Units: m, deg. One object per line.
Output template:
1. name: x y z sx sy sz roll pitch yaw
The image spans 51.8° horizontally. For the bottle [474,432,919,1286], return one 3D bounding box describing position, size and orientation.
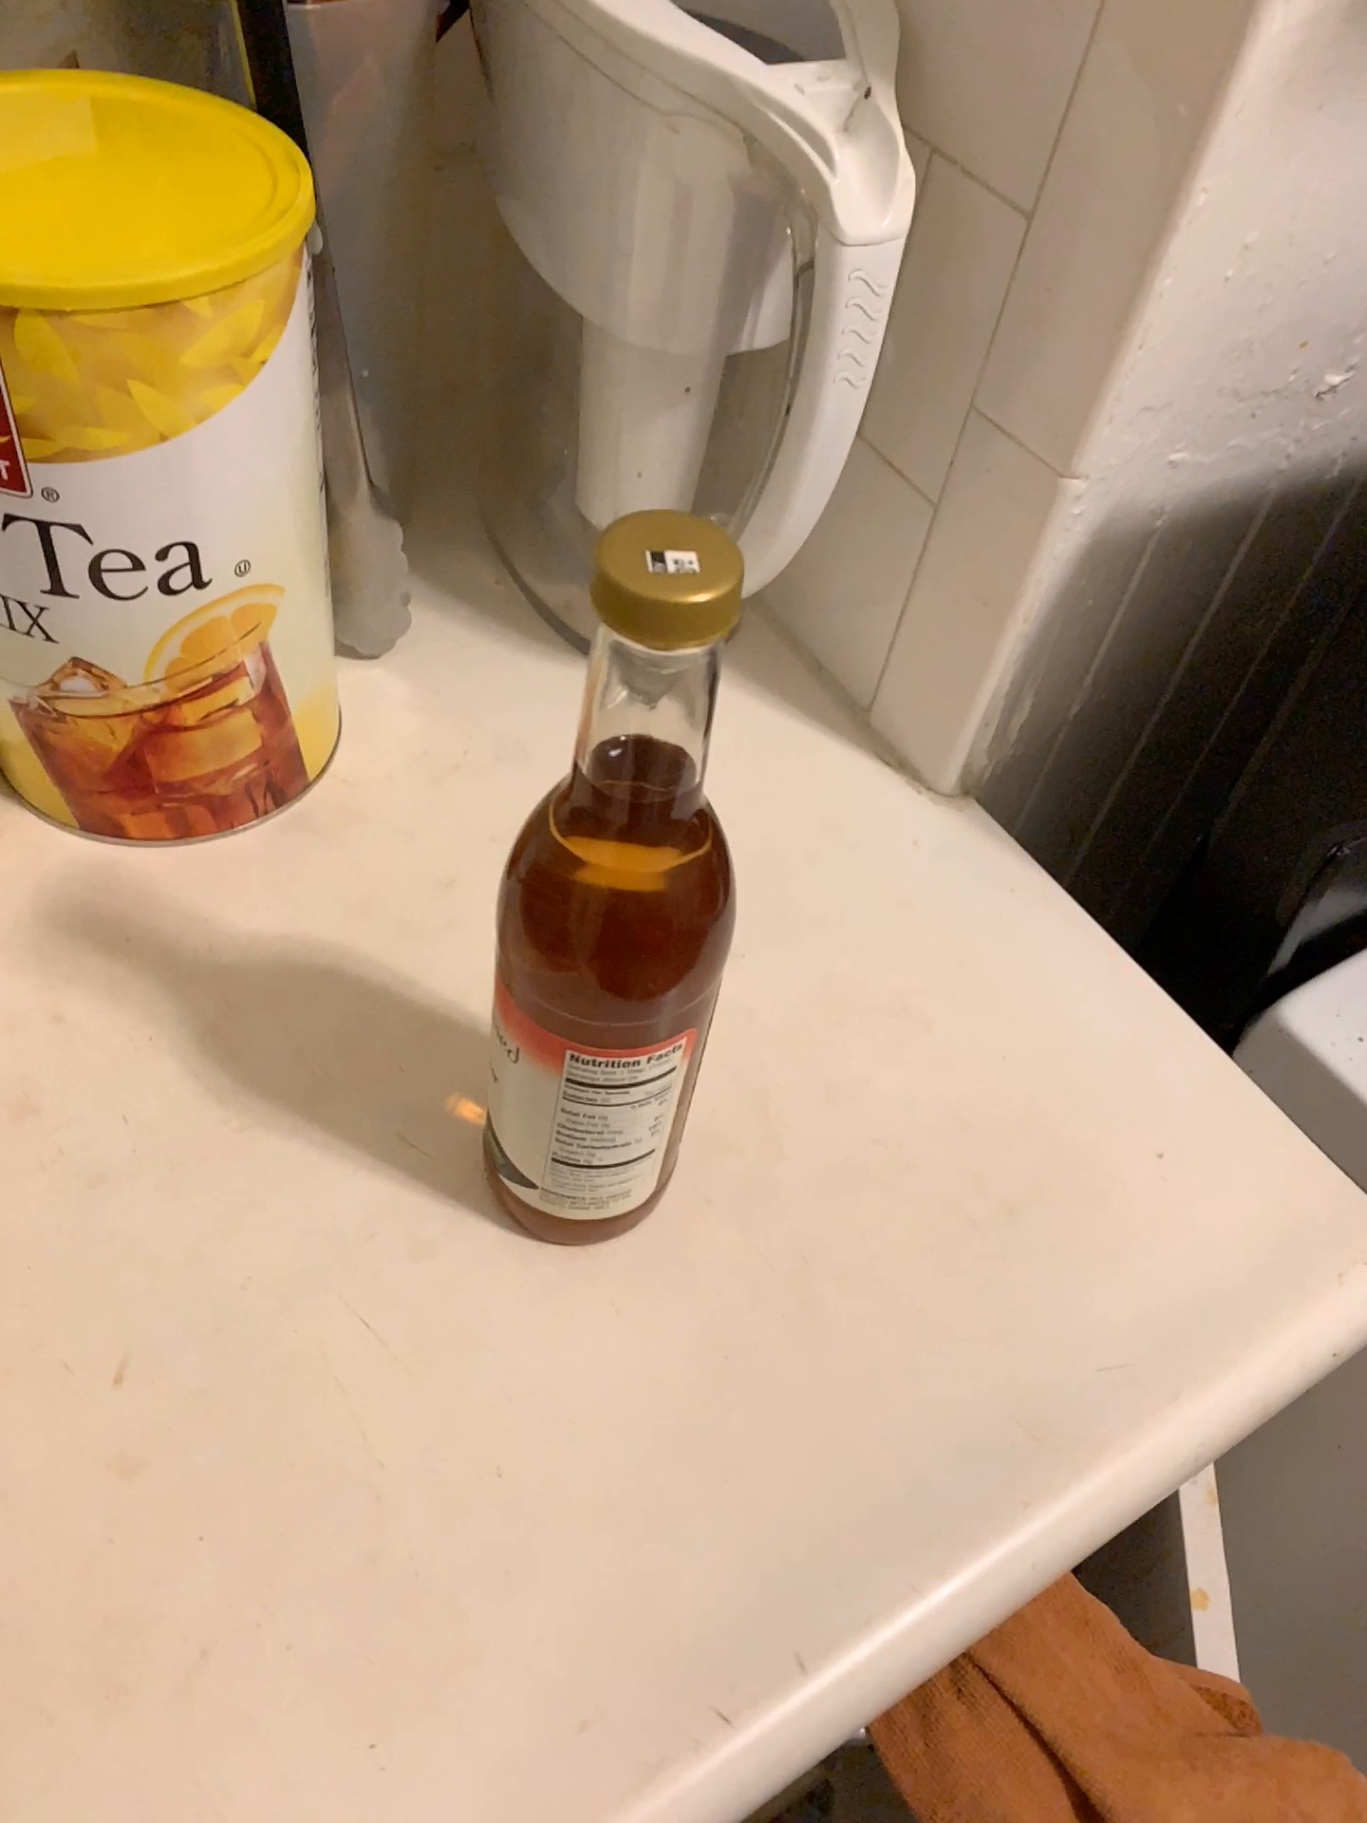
1. bottle: -0.013 0.008 0.356 0.070 0.239 0.070 5 49 -6
